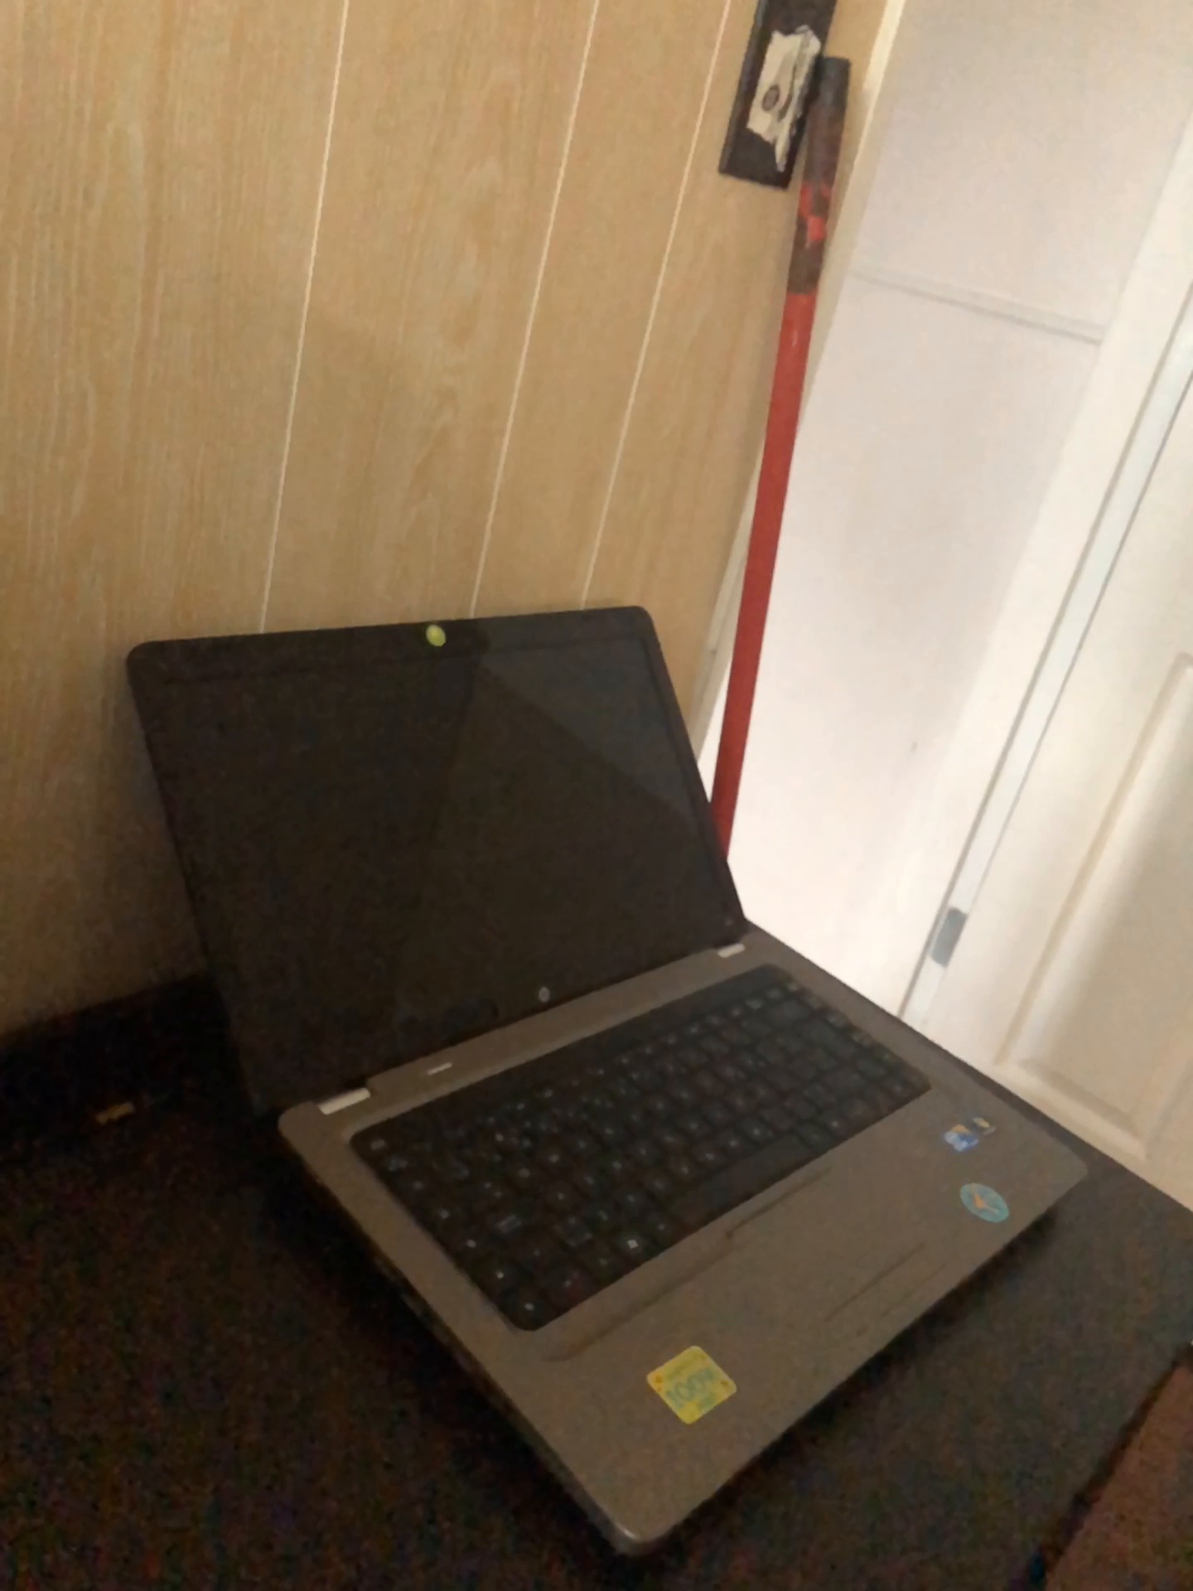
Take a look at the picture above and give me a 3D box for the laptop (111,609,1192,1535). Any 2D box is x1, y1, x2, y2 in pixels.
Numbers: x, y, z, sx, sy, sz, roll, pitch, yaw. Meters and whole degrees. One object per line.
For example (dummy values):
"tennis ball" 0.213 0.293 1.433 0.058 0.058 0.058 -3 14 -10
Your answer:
"laptop" 0.022 0.067 0.683 0.364 0.154 0.419 -12 37 -45
